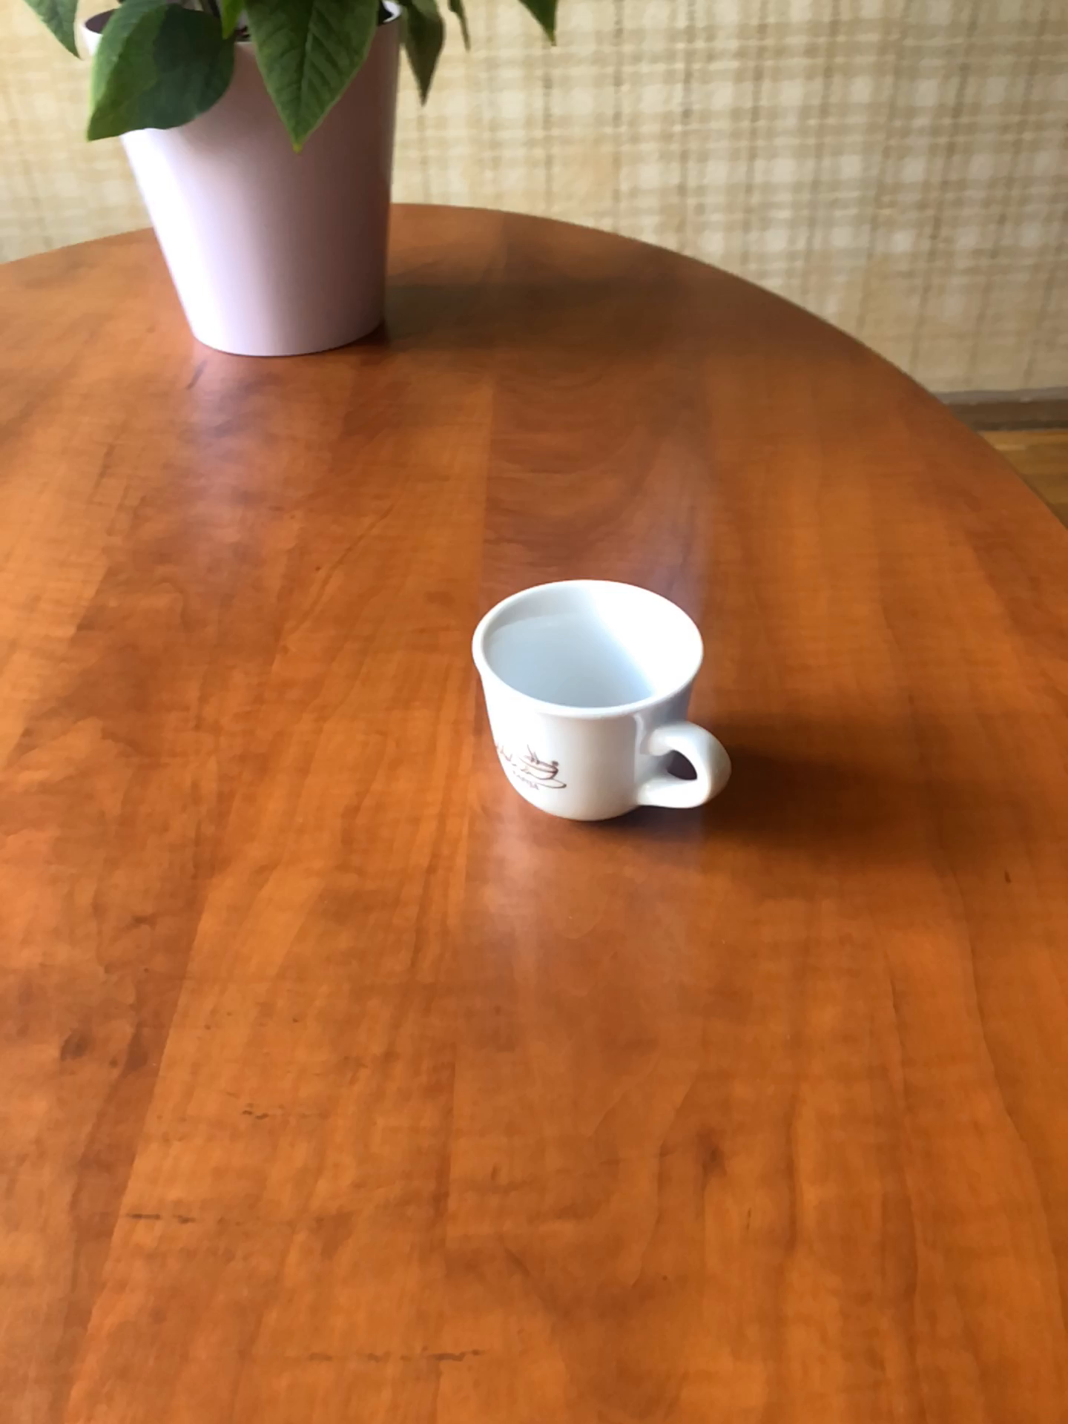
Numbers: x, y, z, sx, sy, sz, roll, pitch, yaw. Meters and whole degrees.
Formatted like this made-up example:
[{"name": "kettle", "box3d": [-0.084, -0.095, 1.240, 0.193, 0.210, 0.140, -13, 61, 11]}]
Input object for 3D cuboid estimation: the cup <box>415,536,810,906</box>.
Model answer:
[{"name": "cup", "box3d": [0.021, -0.001, 0.329, 0.083, 0.050, 0.065, 28, 46, 31]}]
